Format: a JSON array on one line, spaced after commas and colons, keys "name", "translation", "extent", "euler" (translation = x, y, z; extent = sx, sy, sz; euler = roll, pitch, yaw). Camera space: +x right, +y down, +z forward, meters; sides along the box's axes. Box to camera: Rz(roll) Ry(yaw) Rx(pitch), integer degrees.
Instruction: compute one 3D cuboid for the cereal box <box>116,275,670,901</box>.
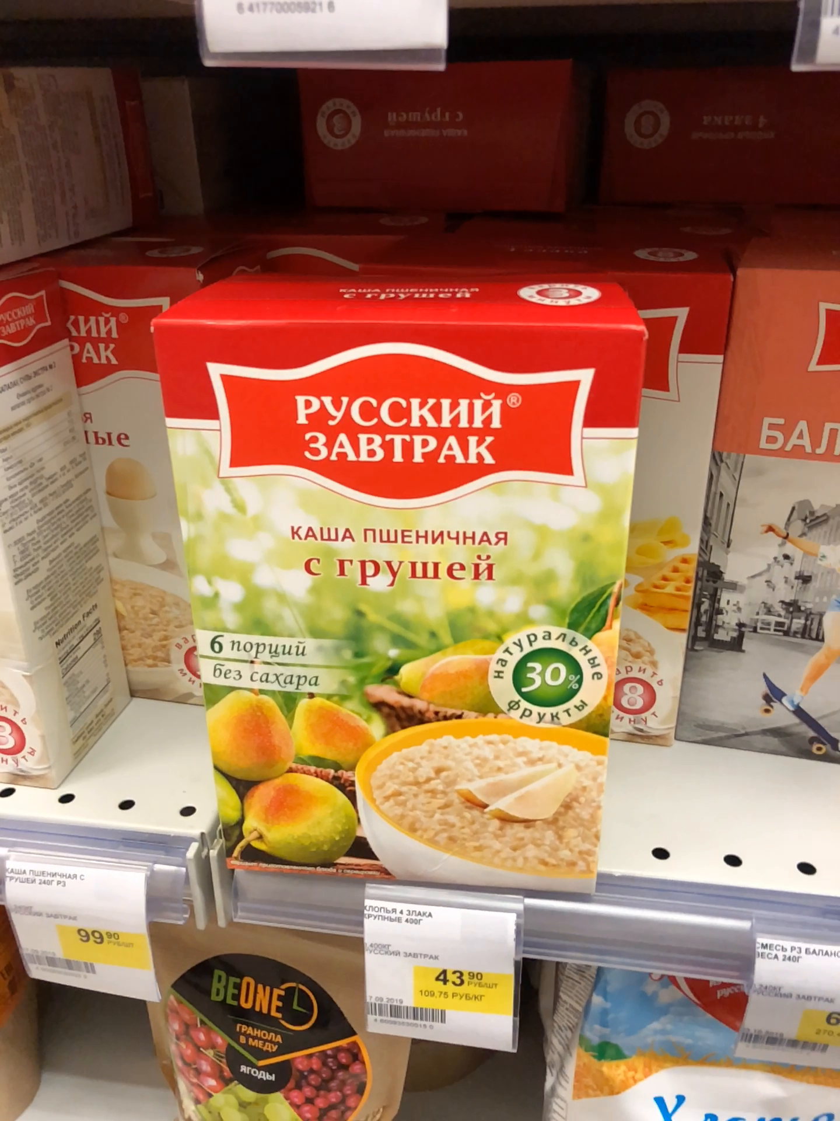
[{"name": "cereal box", "translation": [-0.004, 0.011, 0.300], "extent": [0.140, 0.189, 0.060], "euler": [2, 26, 6]}]
